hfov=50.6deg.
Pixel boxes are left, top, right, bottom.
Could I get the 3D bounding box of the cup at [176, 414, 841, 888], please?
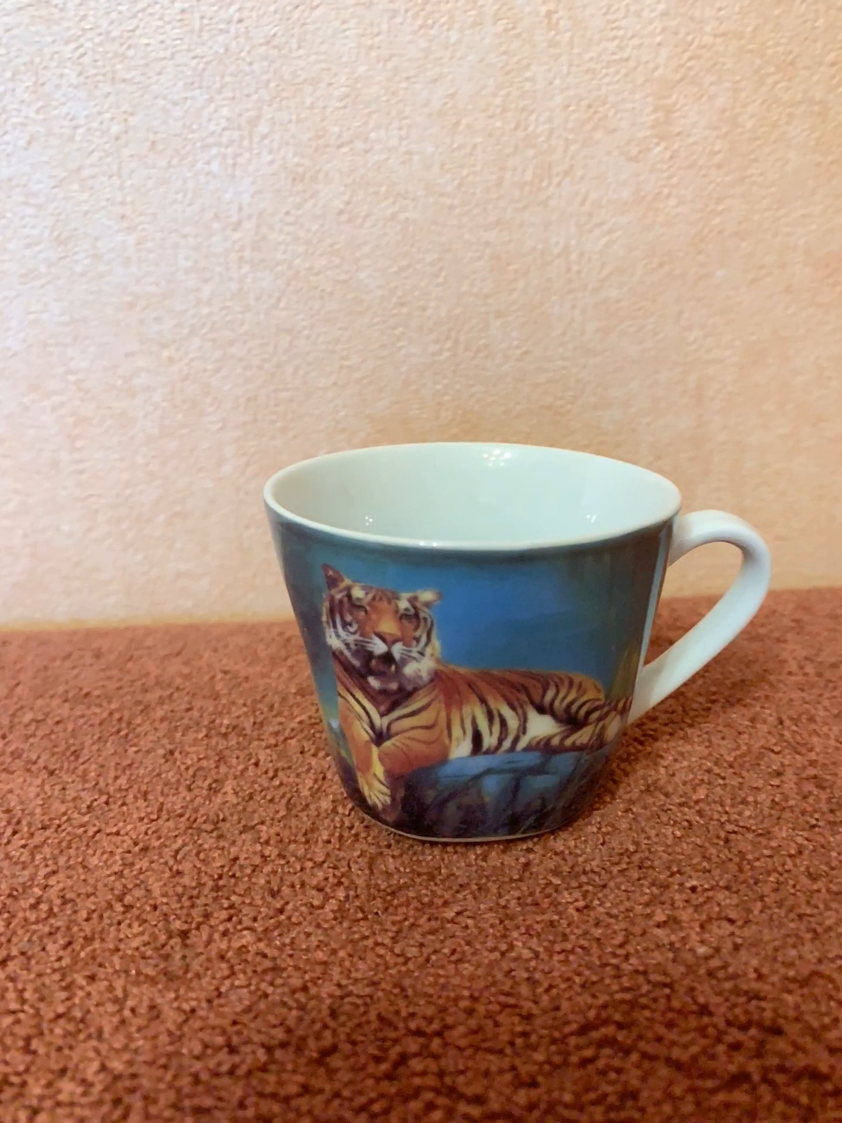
[{"bbox_3d":[0.013,0.008,0.147,0.083,0.048,0.072,-3,19,0],"label":"cup"}]
